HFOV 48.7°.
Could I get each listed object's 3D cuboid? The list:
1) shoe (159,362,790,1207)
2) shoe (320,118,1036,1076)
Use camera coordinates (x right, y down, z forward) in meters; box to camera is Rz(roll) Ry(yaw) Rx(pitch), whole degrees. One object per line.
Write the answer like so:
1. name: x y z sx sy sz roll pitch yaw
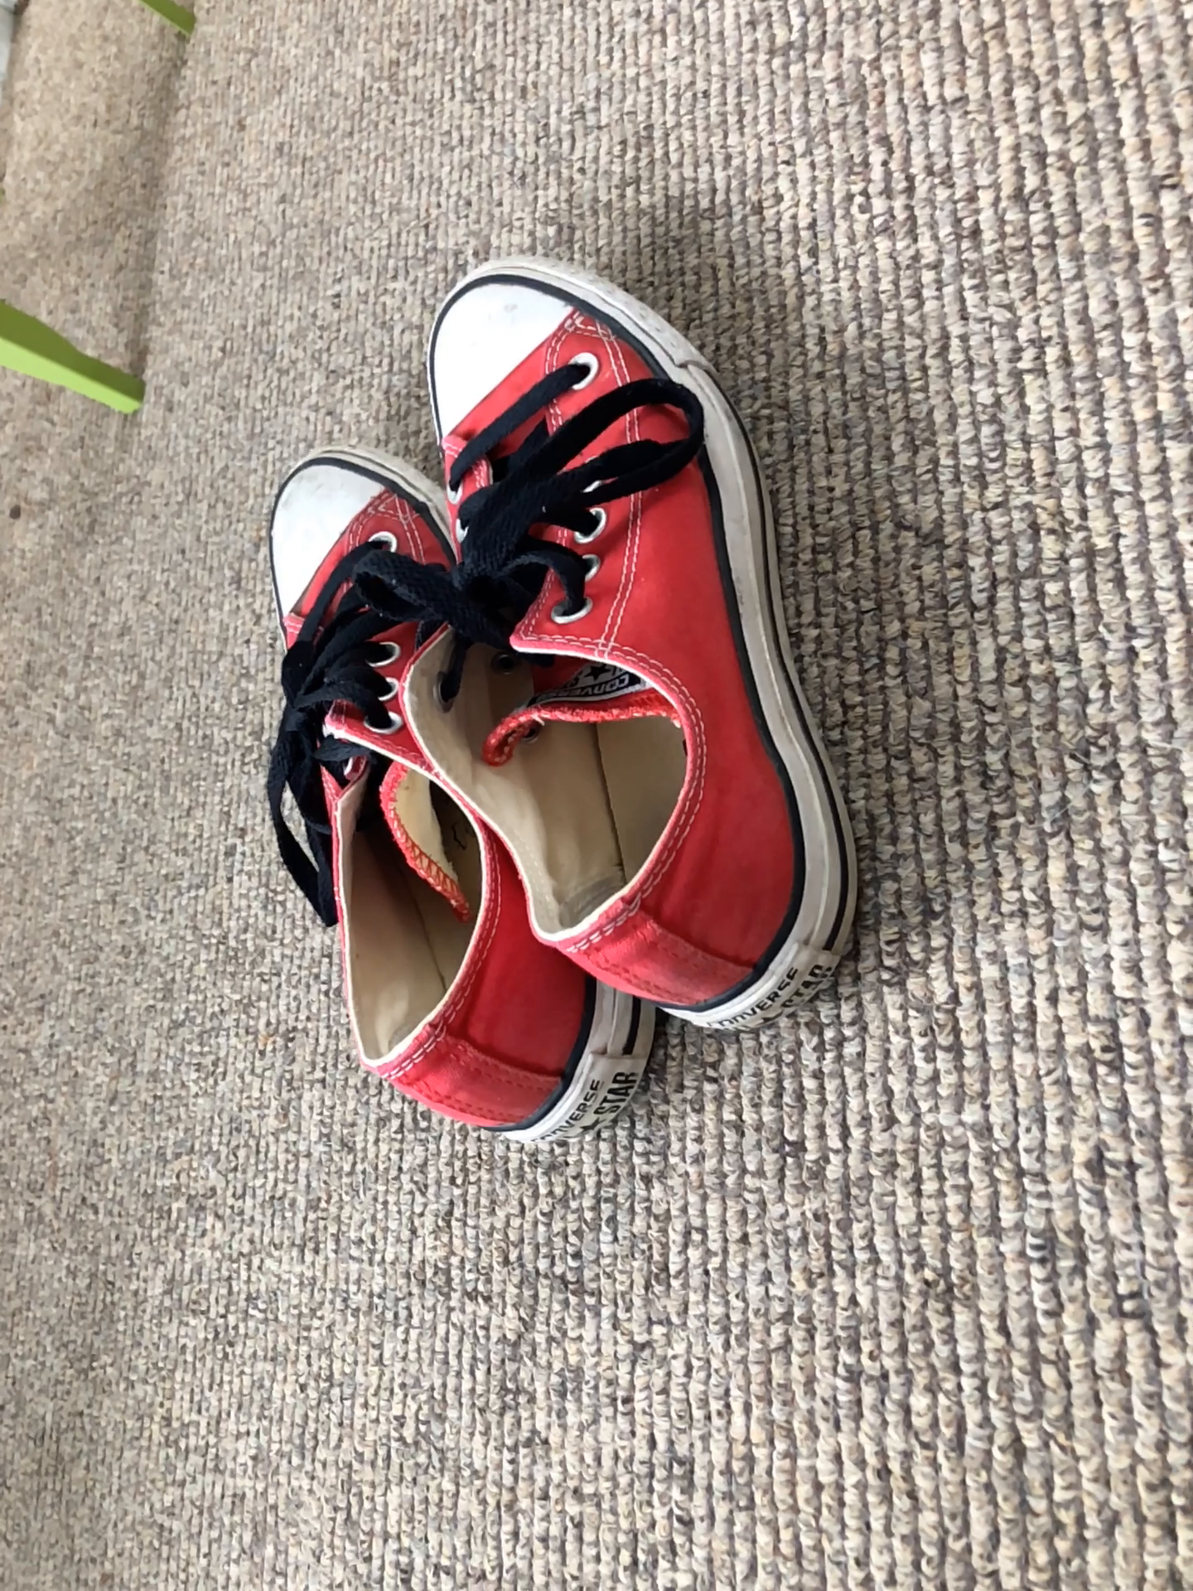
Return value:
1. shoe: -0.055 -0.009 0.441 0.102 0.097 0.263 -43 52 25
2. shoe: 0.008 -0.062 0.387 0.102 0.088 0.259 -38 54 28
